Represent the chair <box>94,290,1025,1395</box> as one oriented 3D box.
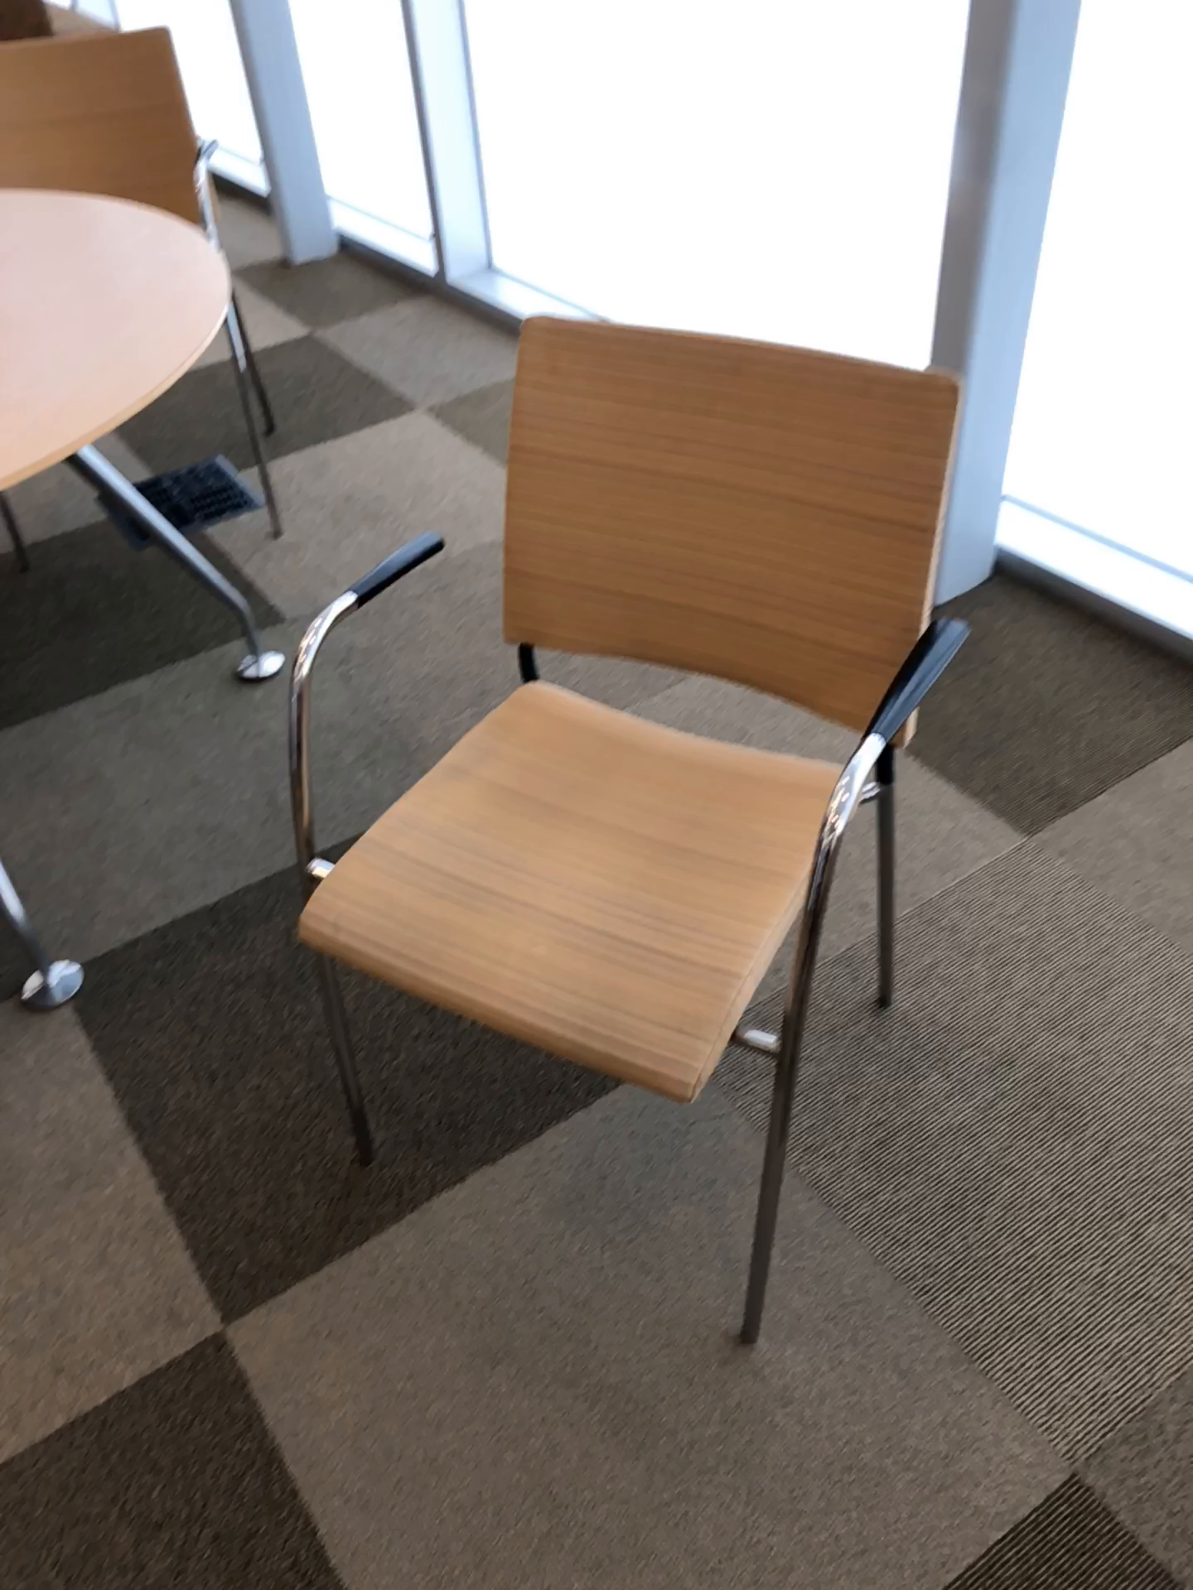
[{"bbox_3d":[0.024,0.037,1.266,0.516,0.796,0.548,17,45,23],"label":"chair"}]
